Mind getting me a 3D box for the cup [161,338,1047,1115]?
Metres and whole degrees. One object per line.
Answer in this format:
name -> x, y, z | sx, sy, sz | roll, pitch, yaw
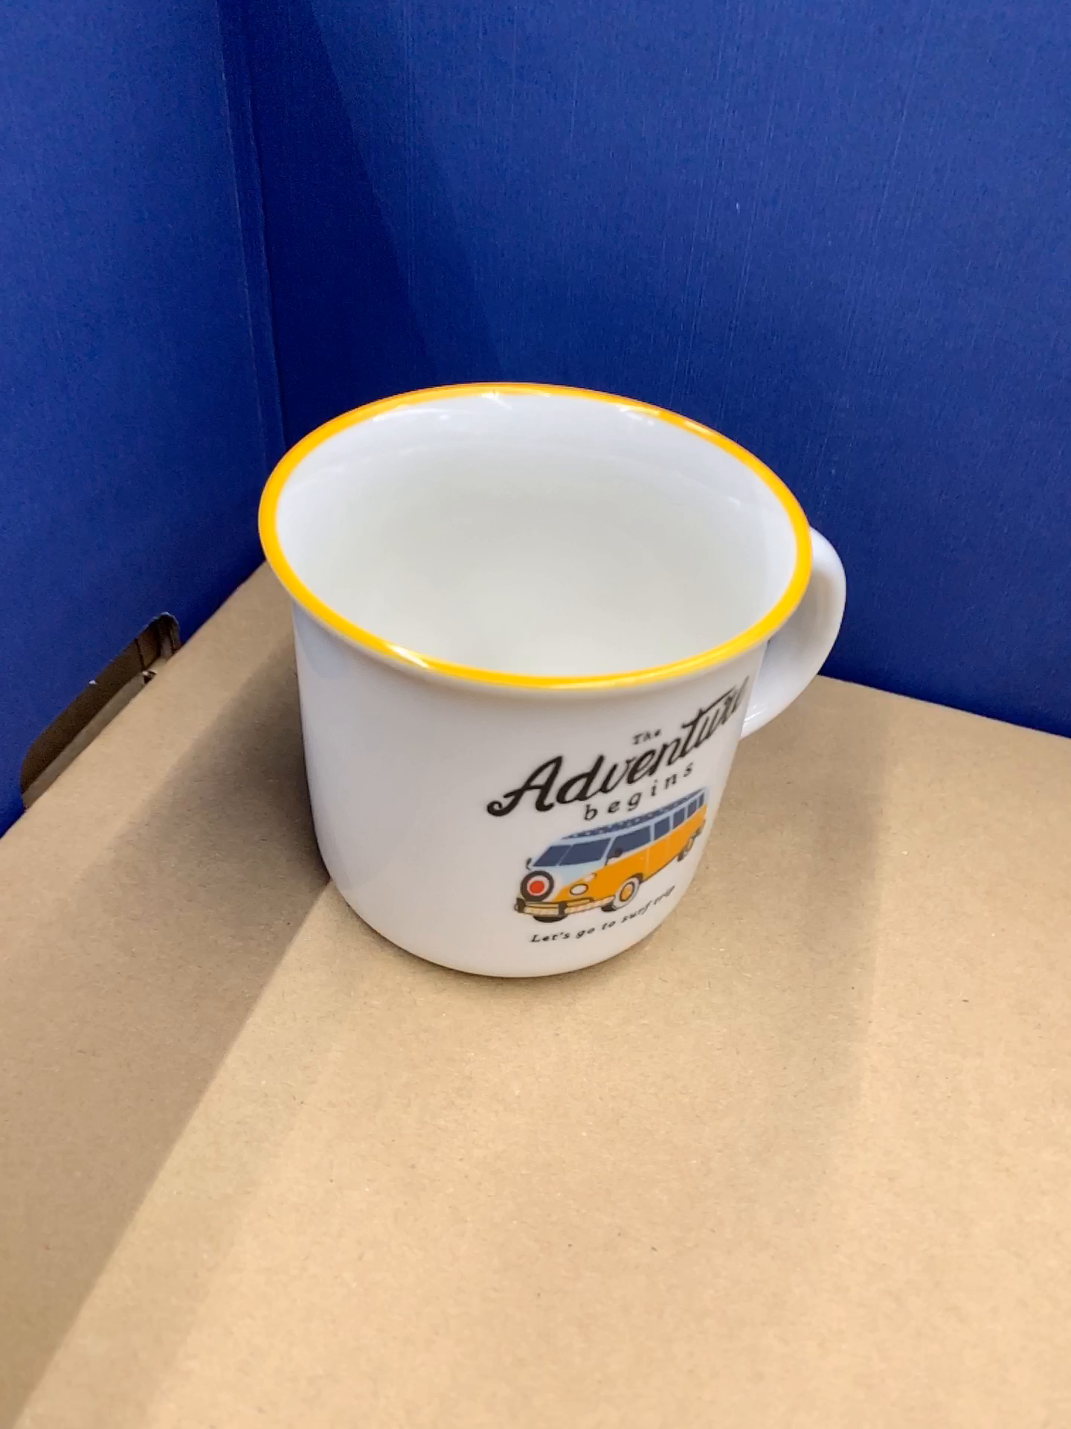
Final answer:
cup -> 0.006, -0.008, 0.224 | 0.124, 0.083, 0.102 | -16, 44, -23
